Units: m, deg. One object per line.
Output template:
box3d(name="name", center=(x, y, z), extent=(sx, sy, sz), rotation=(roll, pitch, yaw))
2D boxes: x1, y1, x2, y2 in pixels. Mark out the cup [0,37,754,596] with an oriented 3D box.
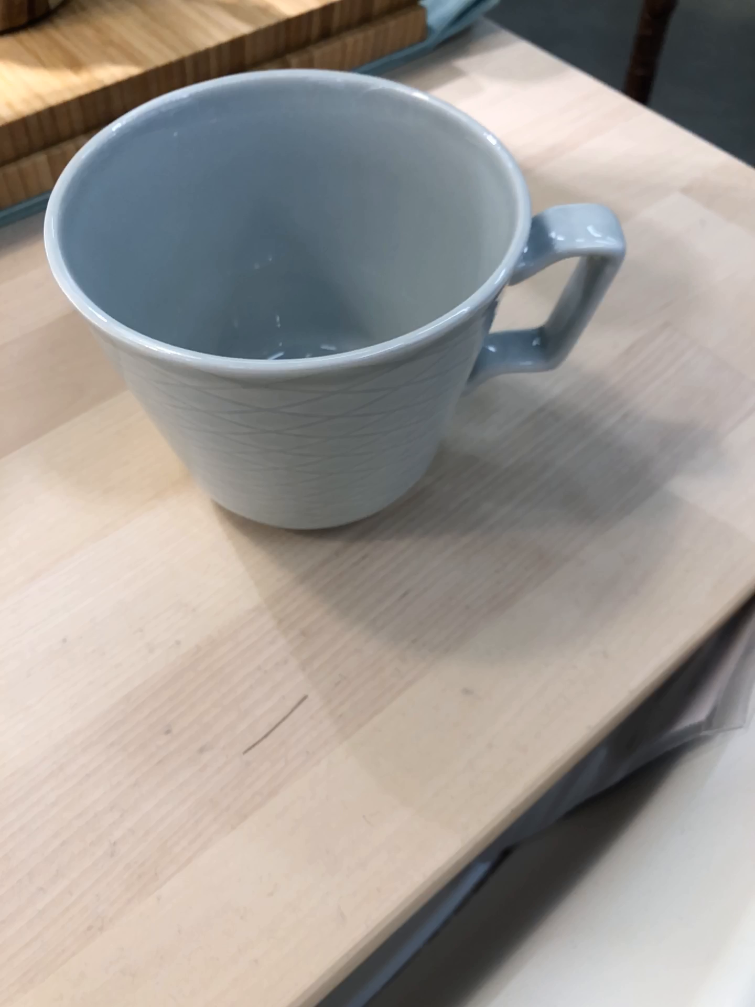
box3d(name="cup", center=(-0.003, -0.049, 0.220), extent=(0.140, 0.080, 0.111), rotation=(-4, 55, -3))
